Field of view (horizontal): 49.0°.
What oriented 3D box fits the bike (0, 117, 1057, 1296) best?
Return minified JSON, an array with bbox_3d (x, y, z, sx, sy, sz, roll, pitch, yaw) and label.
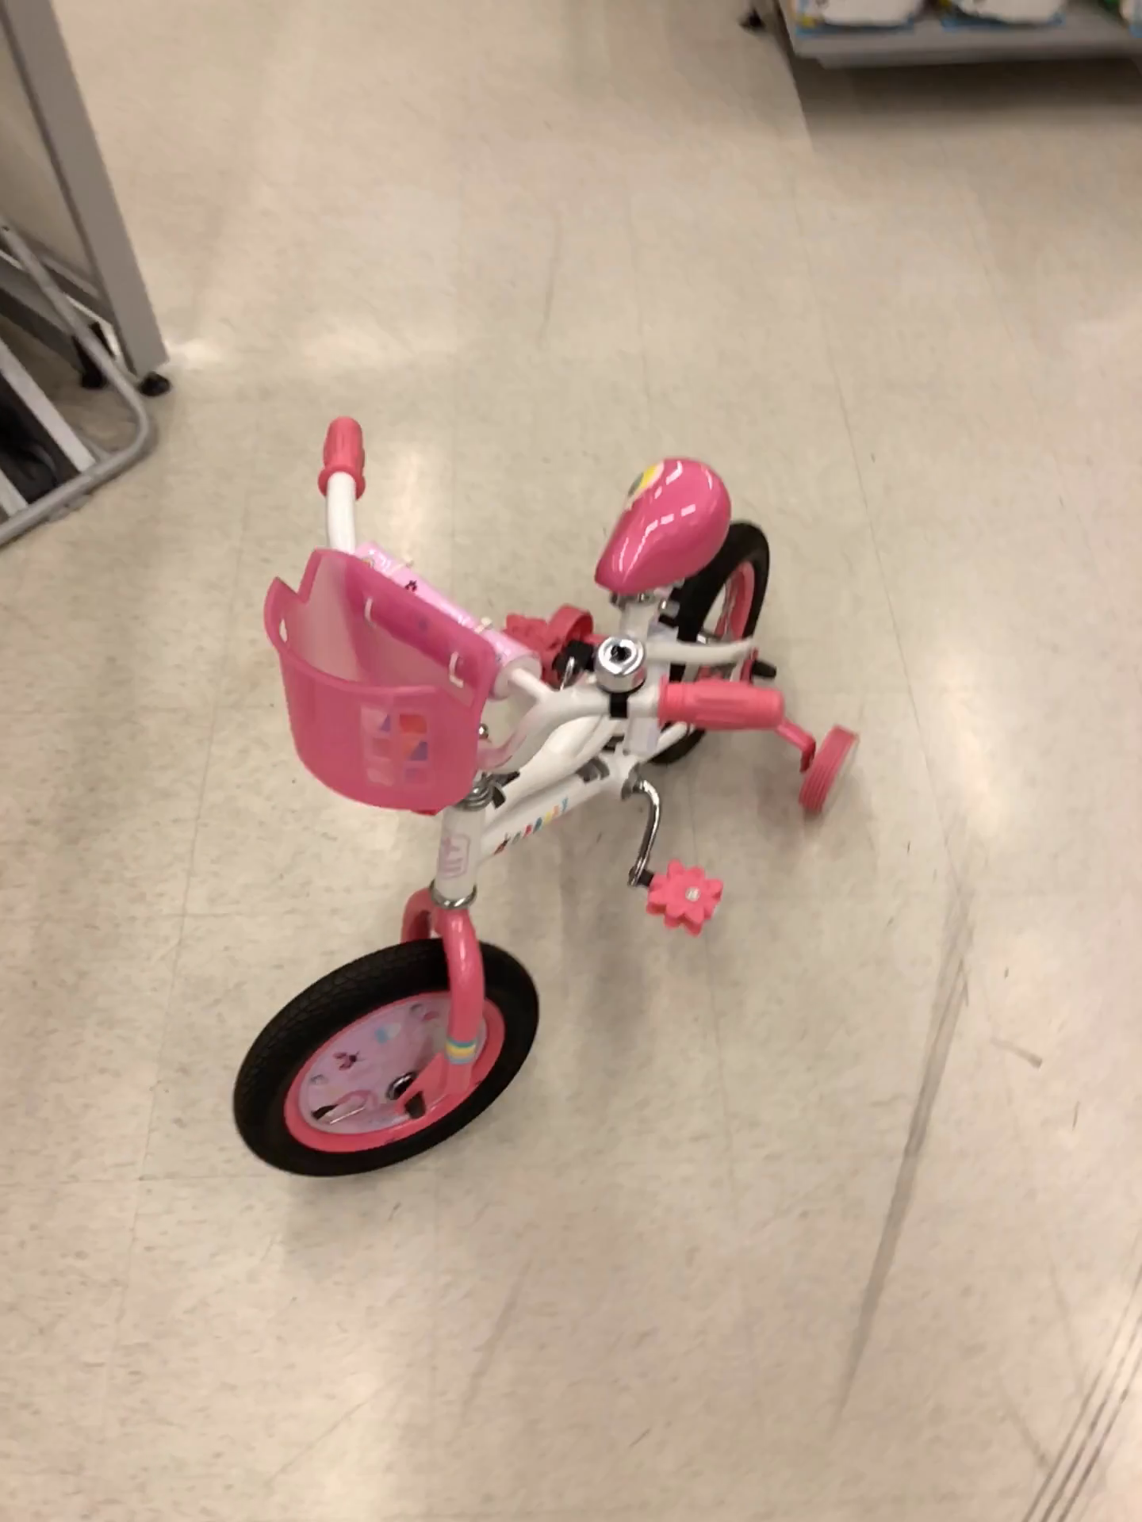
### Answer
[{"bbox_3d":[-0.044,-0.048,1.231,0.457,0.632,0.880,32,63,20],"label":"bike"}]
